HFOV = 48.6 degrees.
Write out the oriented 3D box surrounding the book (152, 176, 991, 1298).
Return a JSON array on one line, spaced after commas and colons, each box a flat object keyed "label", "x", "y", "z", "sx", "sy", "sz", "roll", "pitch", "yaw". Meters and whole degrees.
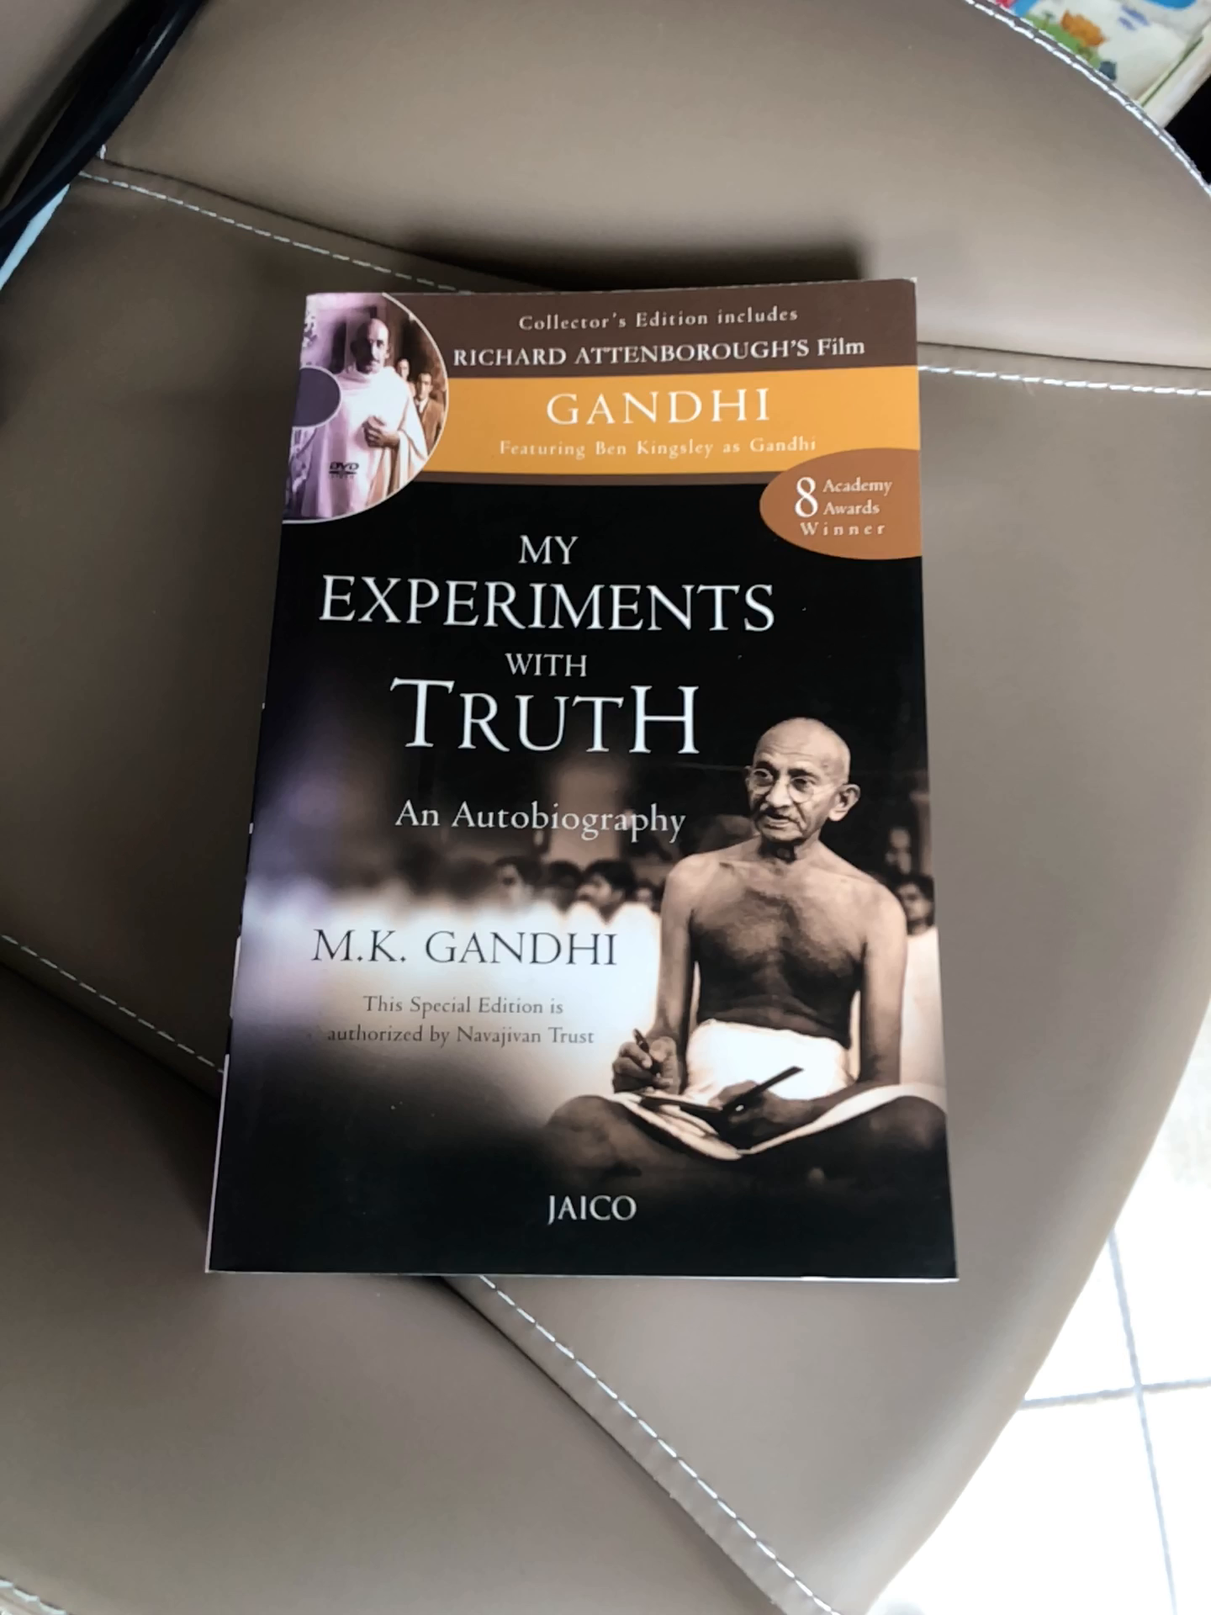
[{"label": "book", "x": -0.003, "y": -0.021, "z": 0.299, "sx": 0.150, "sy": 0.050, "sz": 0.240, "roll": 2, "pitch": 73, "yaw": -2}]
